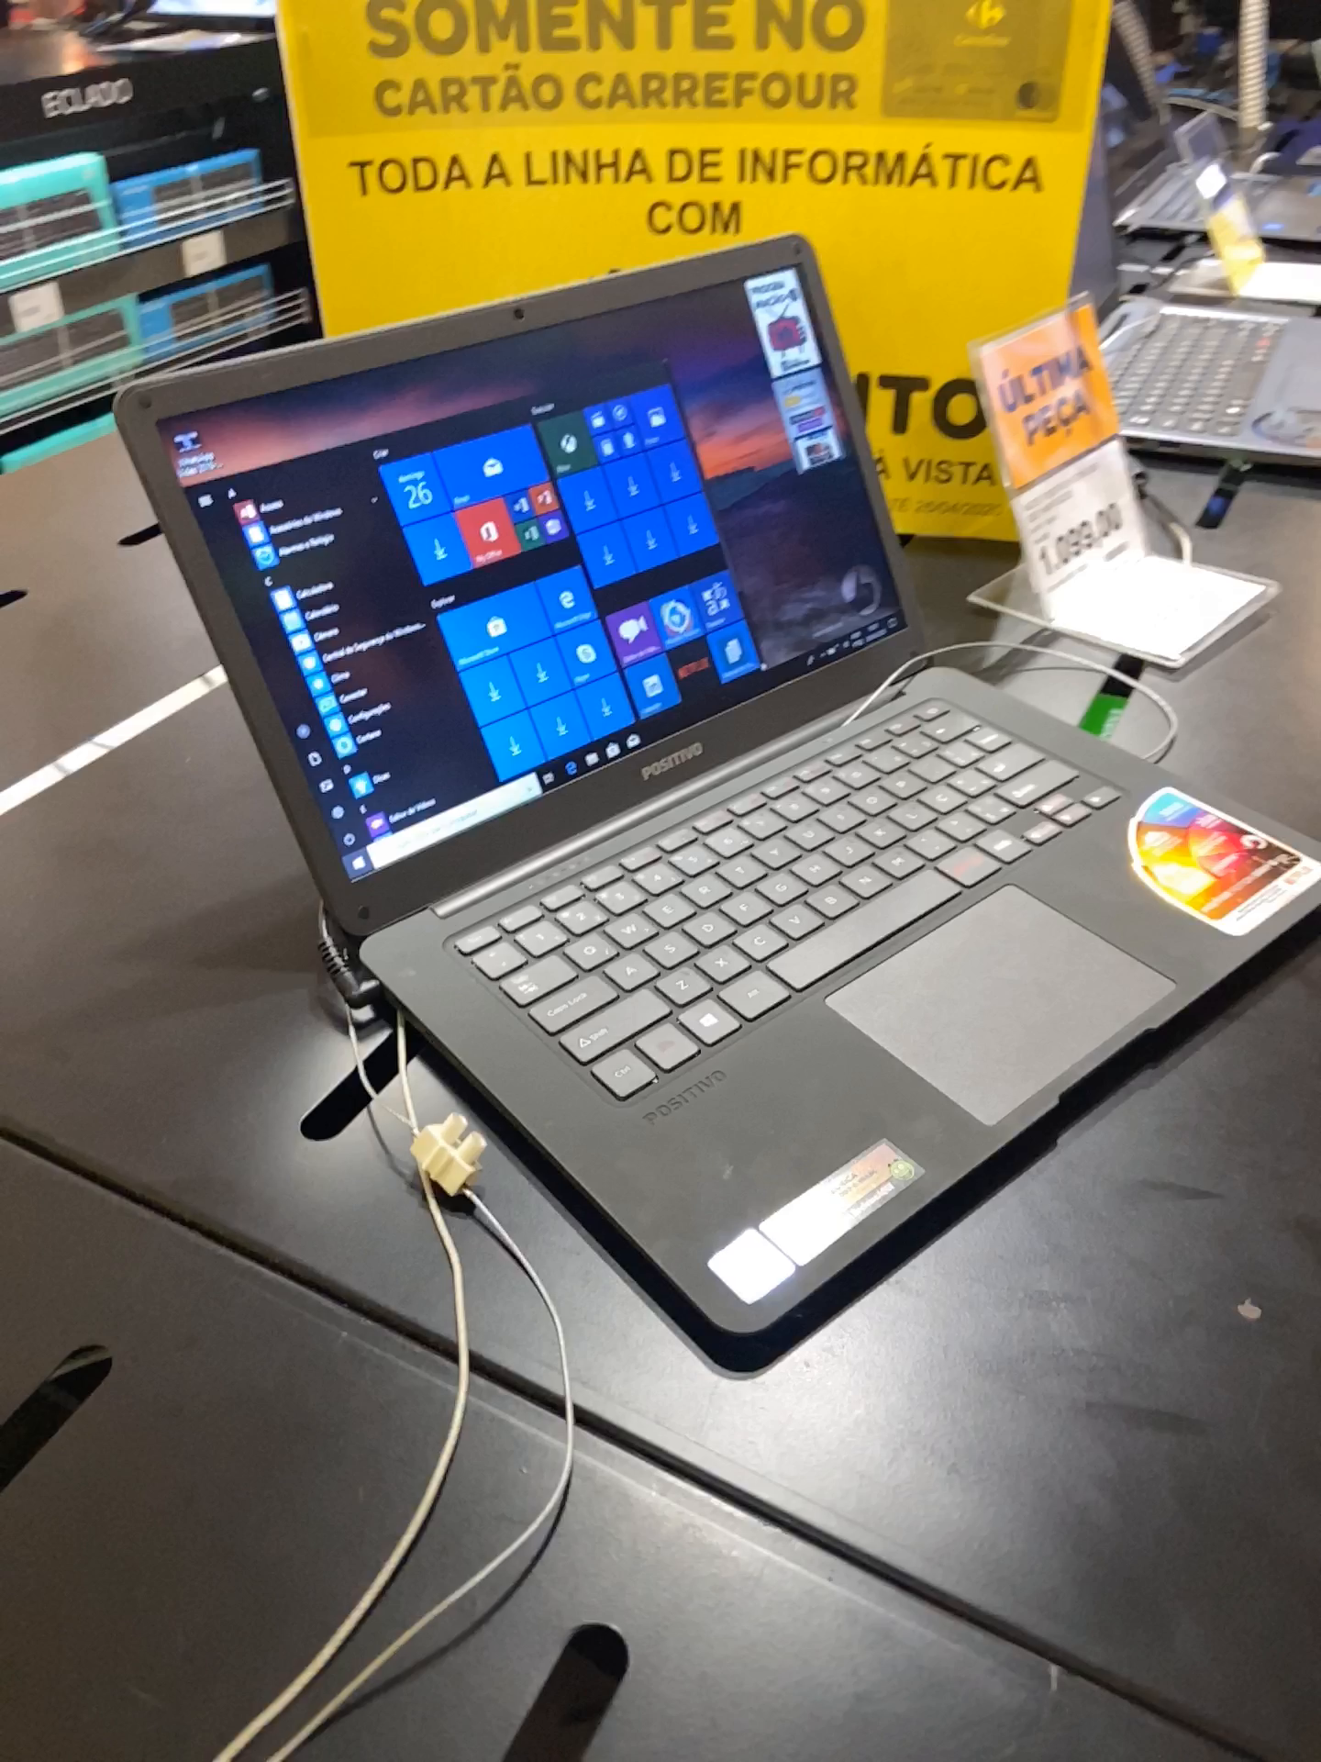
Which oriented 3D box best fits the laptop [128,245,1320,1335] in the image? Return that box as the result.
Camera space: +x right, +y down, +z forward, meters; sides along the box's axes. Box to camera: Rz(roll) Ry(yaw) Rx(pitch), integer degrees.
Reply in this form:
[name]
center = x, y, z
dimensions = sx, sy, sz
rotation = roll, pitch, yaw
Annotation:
[laptop]
center = 0.040, -0.078, 0.456
dimensions = 0.297, 0.159, 0.292
rotation = -27, 44, -30
